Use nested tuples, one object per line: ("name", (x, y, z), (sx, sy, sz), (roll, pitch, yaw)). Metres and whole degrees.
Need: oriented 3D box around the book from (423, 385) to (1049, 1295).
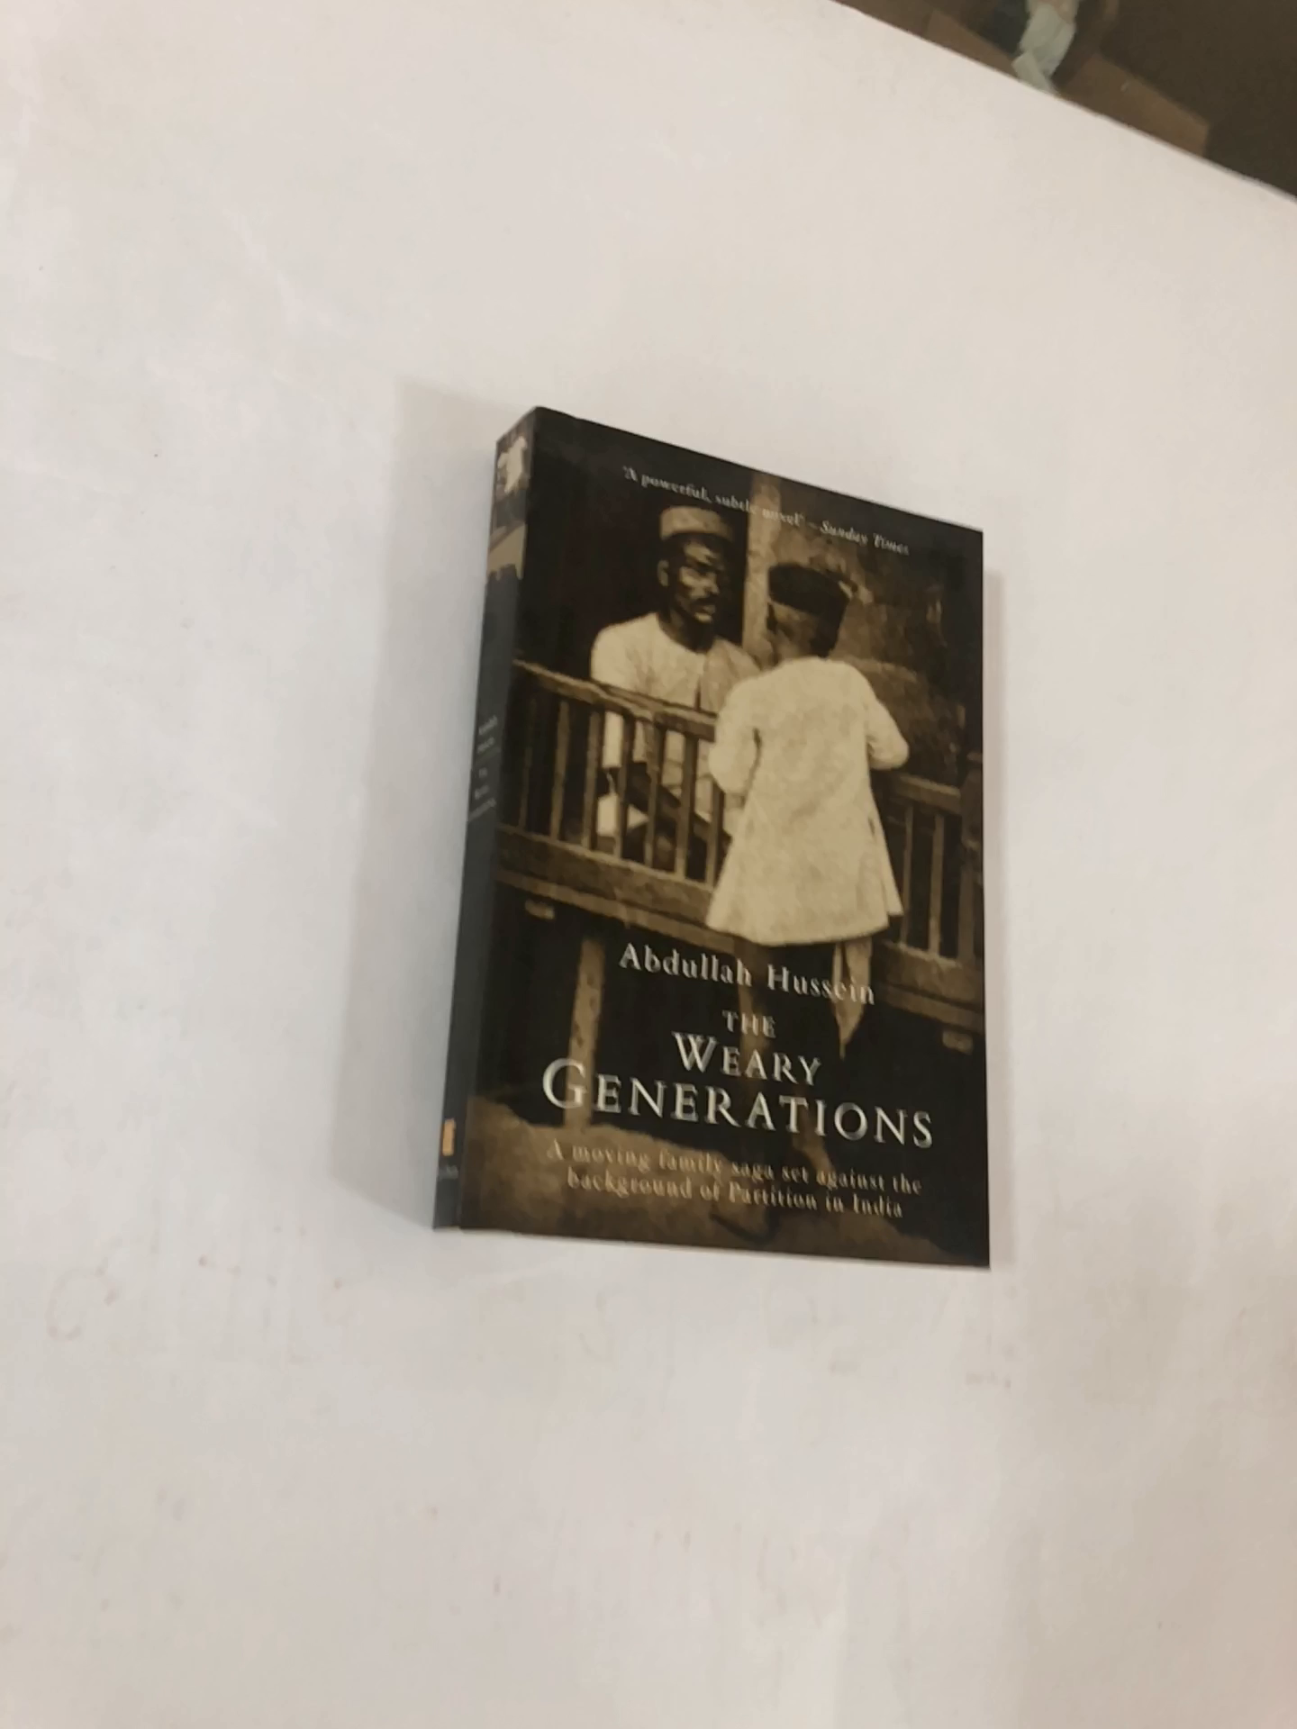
("book", (0.027, -0.004, 0.350), (0.140, 0.030, 0.200), (10, 72, -20))
